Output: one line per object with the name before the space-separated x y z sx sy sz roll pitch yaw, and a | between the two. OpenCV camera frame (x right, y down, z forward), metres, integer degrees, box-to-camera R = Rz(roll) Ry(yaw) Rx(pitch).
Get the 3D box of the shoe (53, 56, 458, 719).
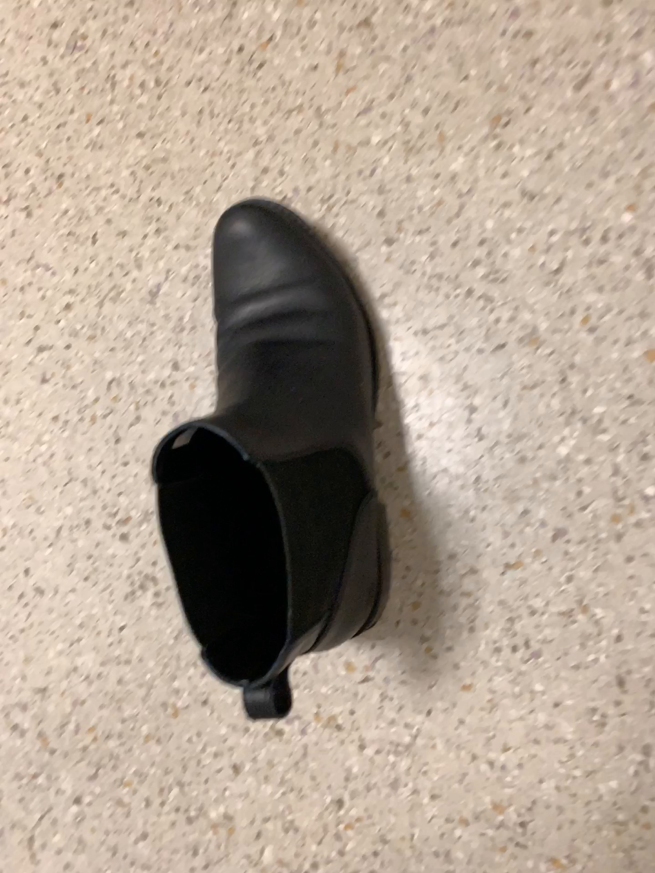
shoe | -0.030 -0.019 0.358 0.108 0.147 0.270 -17 80 19
